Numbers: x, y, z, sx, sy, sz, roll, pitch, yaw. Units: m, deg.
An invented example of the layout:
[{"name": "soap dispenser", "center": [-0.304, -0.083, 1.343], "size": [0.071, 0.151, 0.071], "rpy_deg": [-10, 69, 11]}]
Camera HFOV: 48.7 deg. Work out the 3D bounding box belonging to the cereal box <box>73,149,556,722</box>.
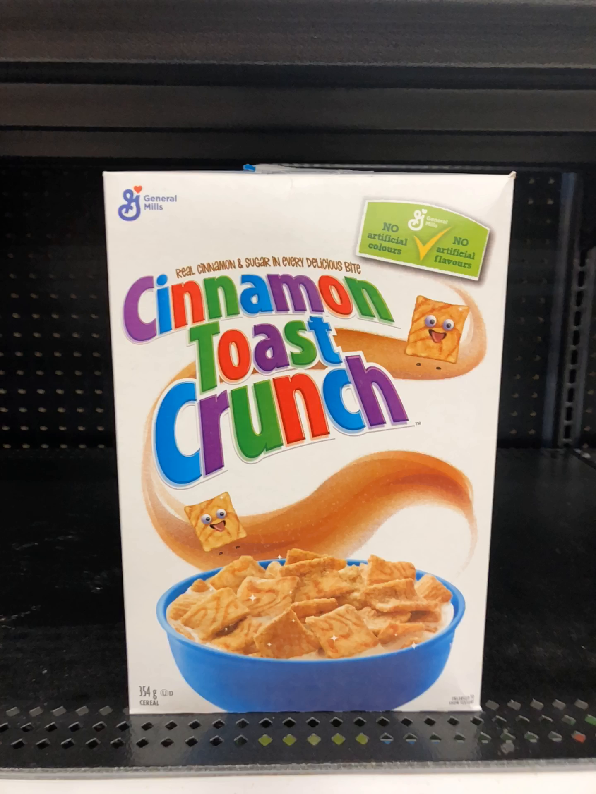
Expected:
[{"name": "cereal box", "center": [0.007, 0.025, 0.337], "size": [0.210, 0.279, 0.050], "rpy_deg": [0, 11, -1]}]
